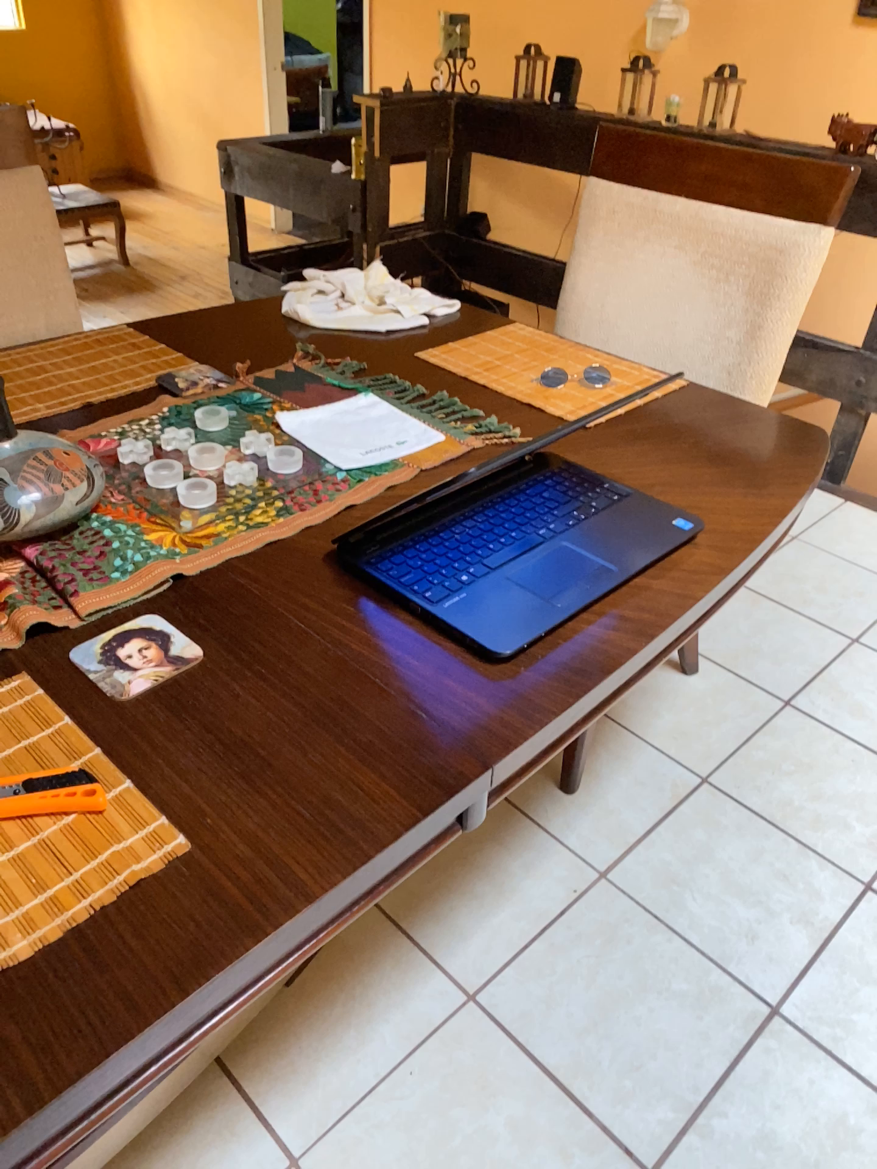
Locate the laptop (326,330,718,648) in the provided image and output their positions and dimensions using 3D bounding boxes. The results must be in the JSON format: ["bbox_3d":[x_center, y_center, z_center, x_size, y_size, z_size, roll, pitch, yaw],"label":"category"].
[{"bbox_3d":[0.092,-0.129,0.980,0.248,0.158,0.357,30,43,34],"label":"laptop"}]
